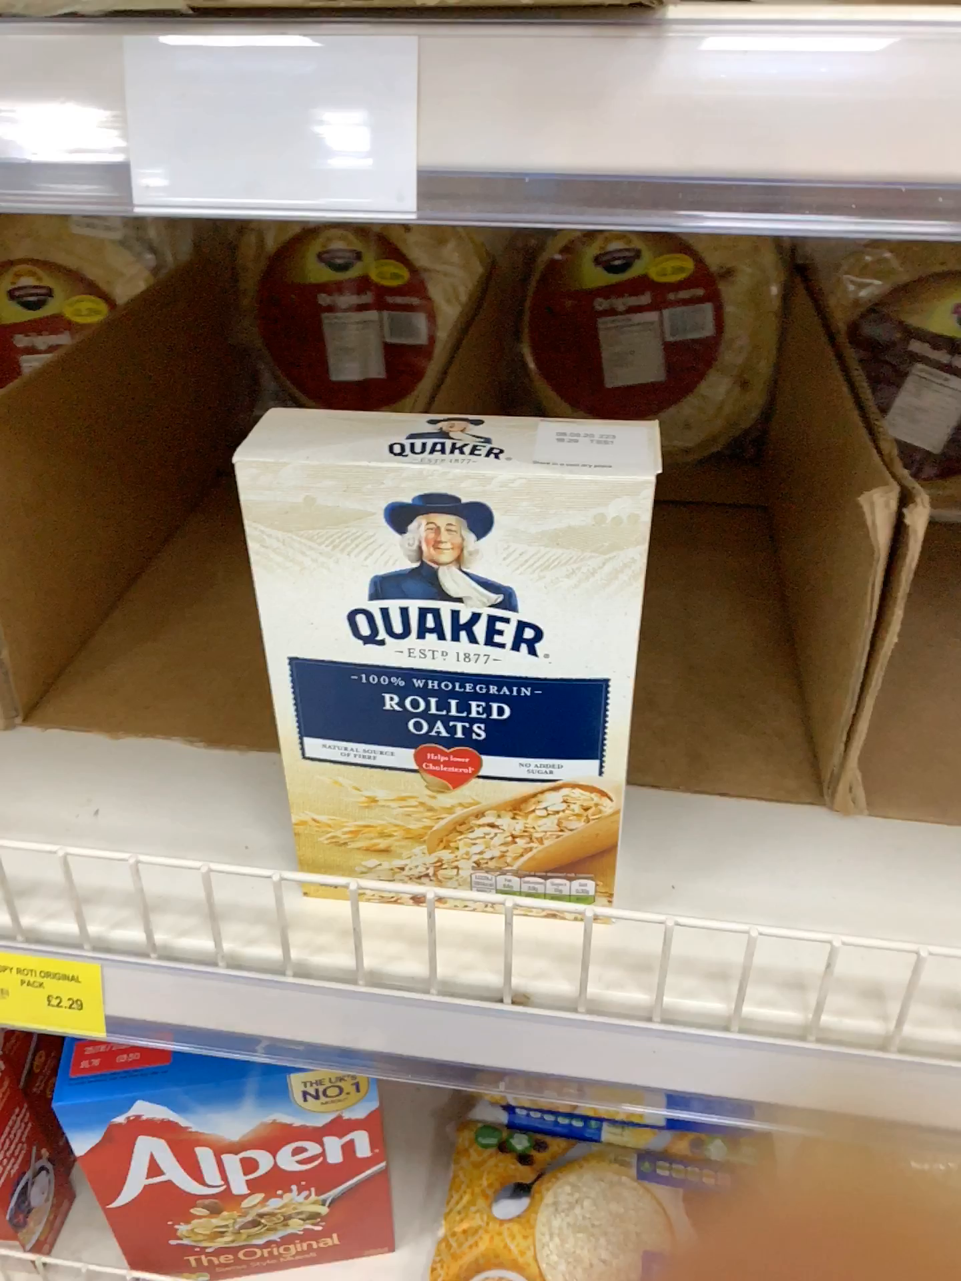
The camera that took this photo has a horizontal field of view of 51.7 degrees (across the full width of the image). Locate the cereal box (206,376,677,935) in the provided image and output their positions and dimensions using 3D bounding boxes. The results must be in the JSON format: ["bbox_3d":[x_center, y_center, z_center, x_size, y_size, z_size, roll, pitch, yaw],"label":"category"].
[{"bbox_3d":[-0.009,0.014,0.397,0.150,0.218,0.061,4,35,7],"label":"cereal box"}]
